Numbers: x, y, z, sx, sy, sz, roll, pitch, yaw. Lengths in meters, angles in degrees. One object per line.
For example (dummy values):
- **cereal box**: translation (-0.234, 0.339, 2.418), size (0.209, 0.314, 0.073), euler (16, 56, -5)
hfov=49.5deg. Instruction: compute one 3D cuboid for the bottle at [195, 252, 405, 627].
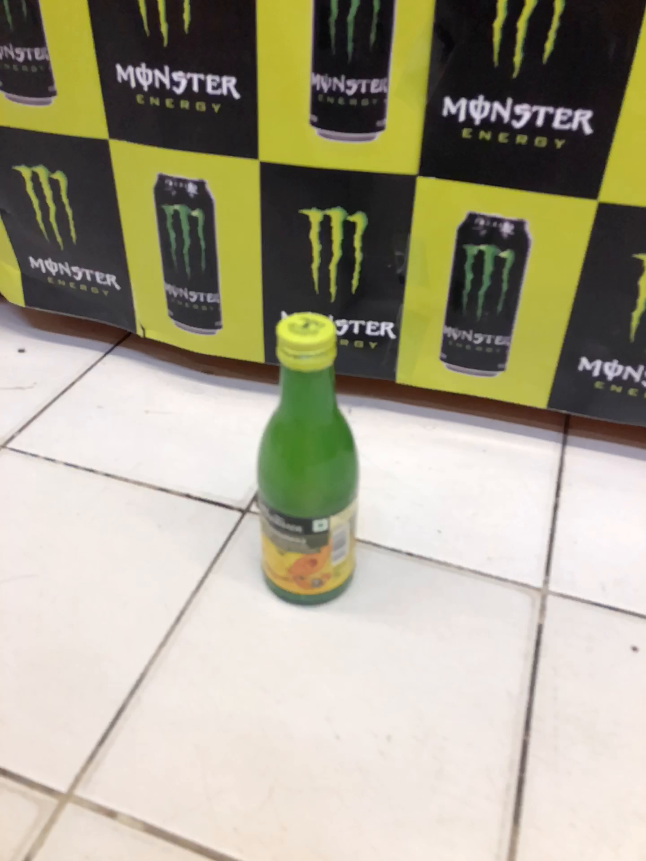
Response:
- **bottle**: translation (-0.010, 0.009, 0.375), size (0.070, 0.179, 0.070), euler (1, 37, -1)
